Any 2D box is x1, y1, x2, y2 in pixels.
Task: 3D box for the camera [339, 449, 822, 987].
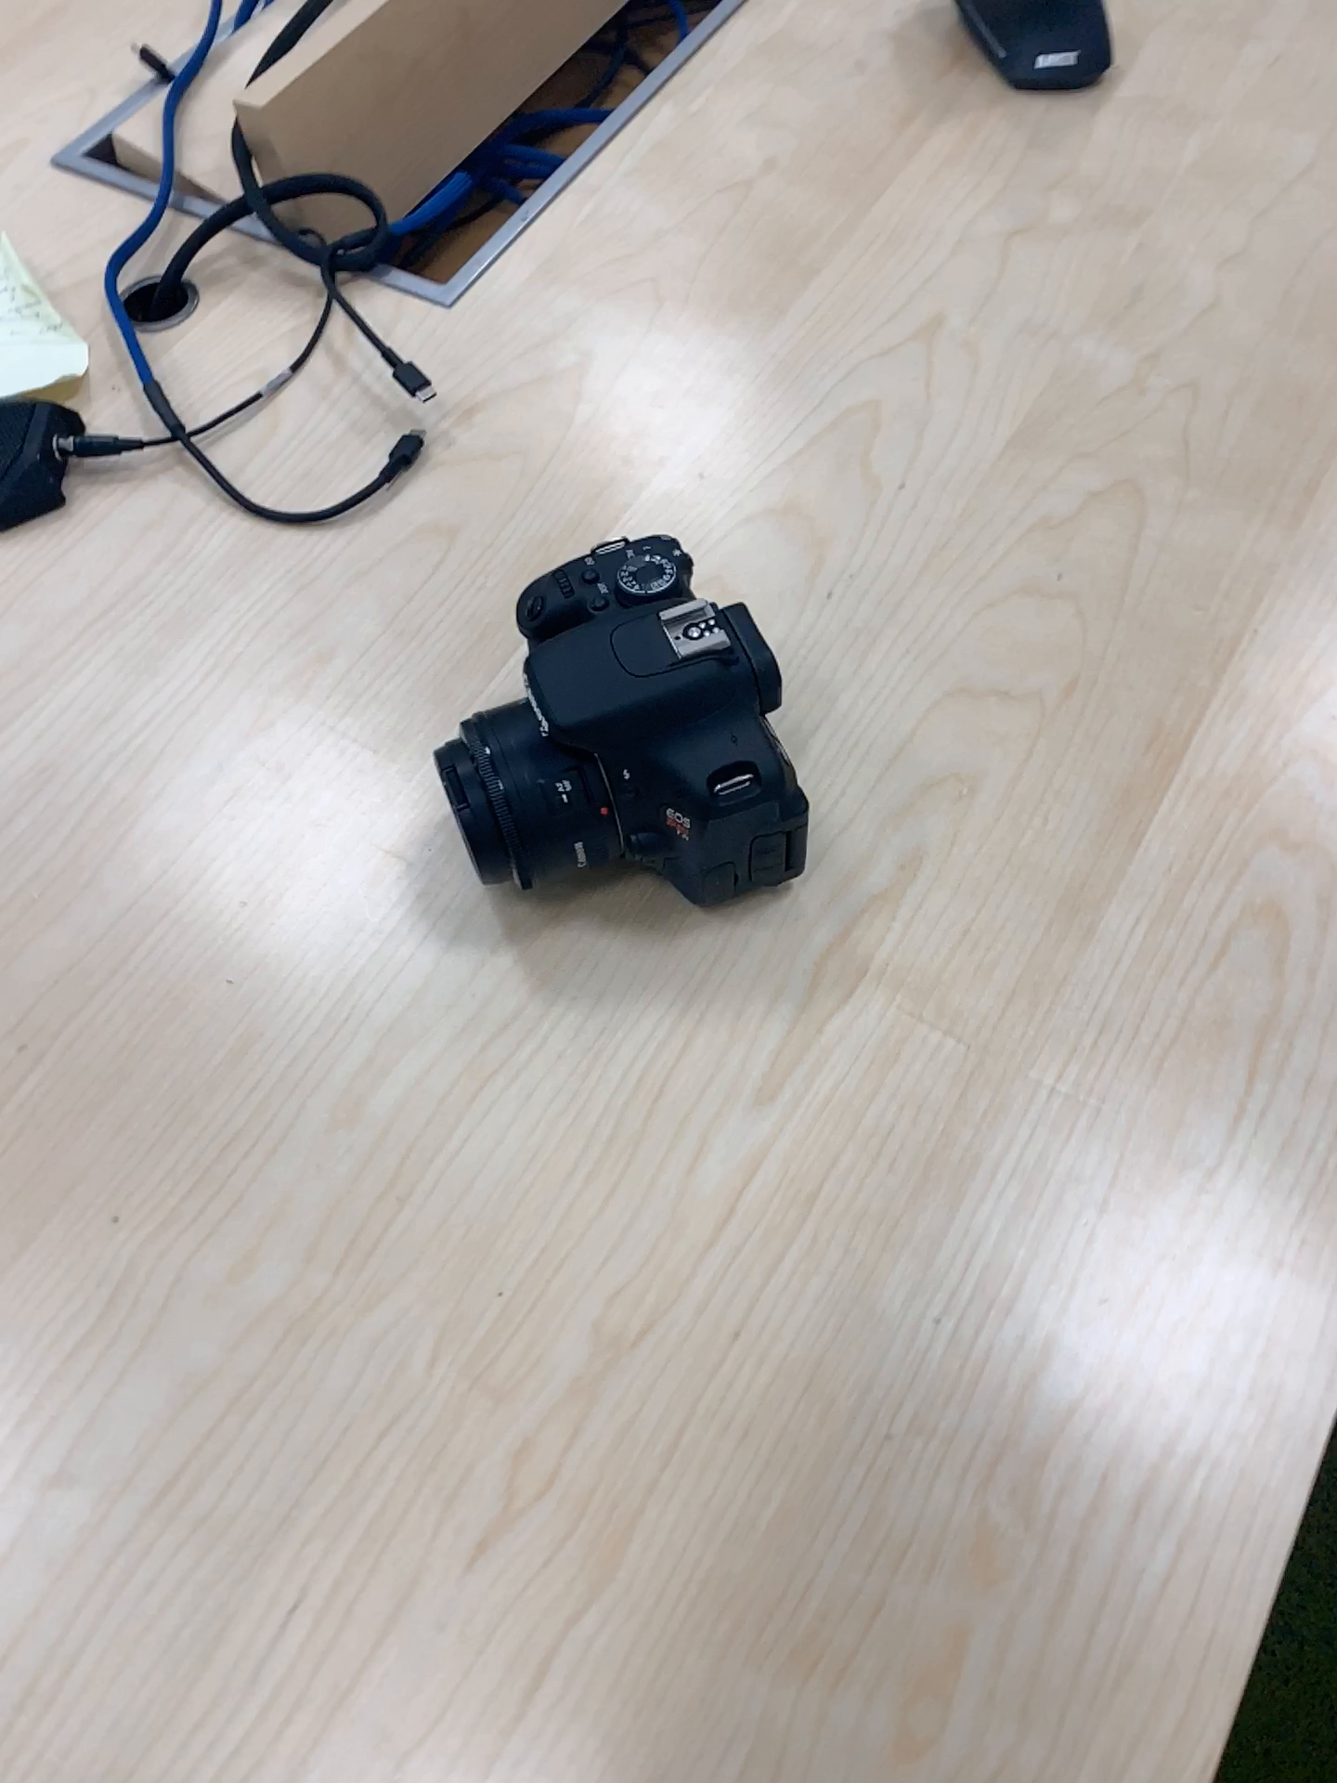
[{"bbox_3d":[-0.030,-0.061,0.485,0.120,0.090,0.130,-21,62,-8],"label":"camera"}]
